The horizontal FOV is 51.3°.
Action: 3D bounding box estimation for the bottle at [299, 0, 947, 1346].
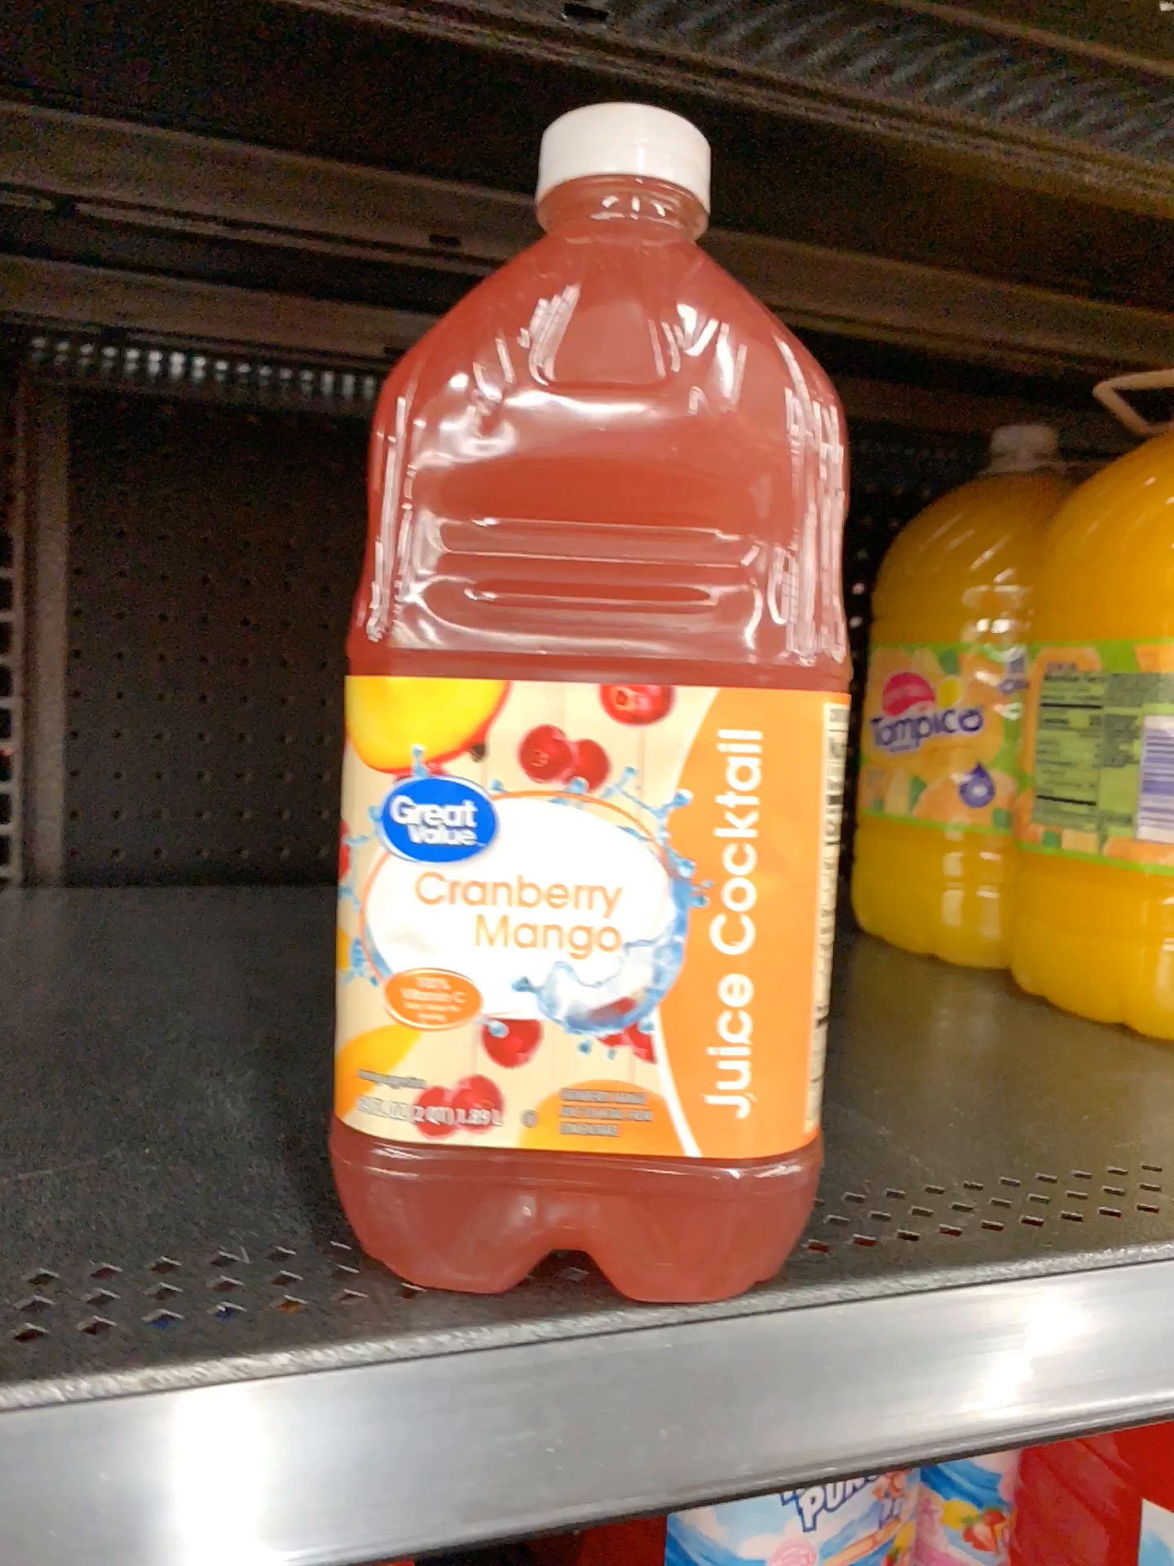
[{"bbox_3d":[0.007,-0.026,0.297,0.119,0.272,0.101,3,5,3],"label":"bottle"}]
